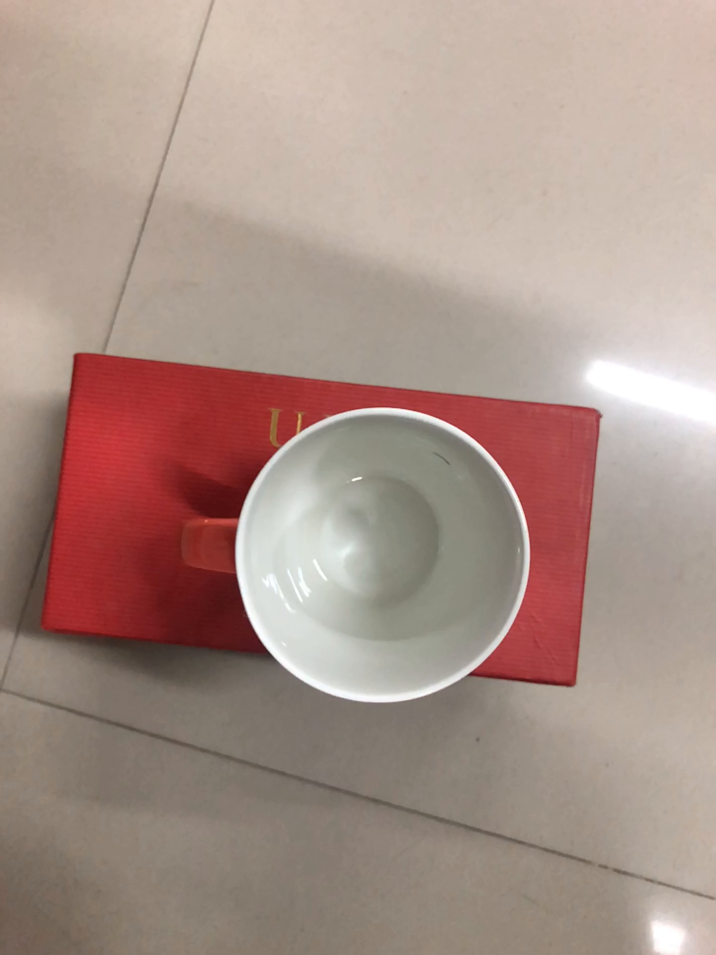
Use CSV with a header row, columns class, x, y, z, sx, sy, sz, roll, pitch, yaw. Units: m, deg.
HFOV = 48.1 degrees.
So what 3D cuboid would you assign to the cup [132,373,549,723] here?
class,x,y,z,sx,sy,sz,roll,pitch,yaw
cup,-0.005,0.021,0.267,0.110,0.090,0.090,4,88,-1
